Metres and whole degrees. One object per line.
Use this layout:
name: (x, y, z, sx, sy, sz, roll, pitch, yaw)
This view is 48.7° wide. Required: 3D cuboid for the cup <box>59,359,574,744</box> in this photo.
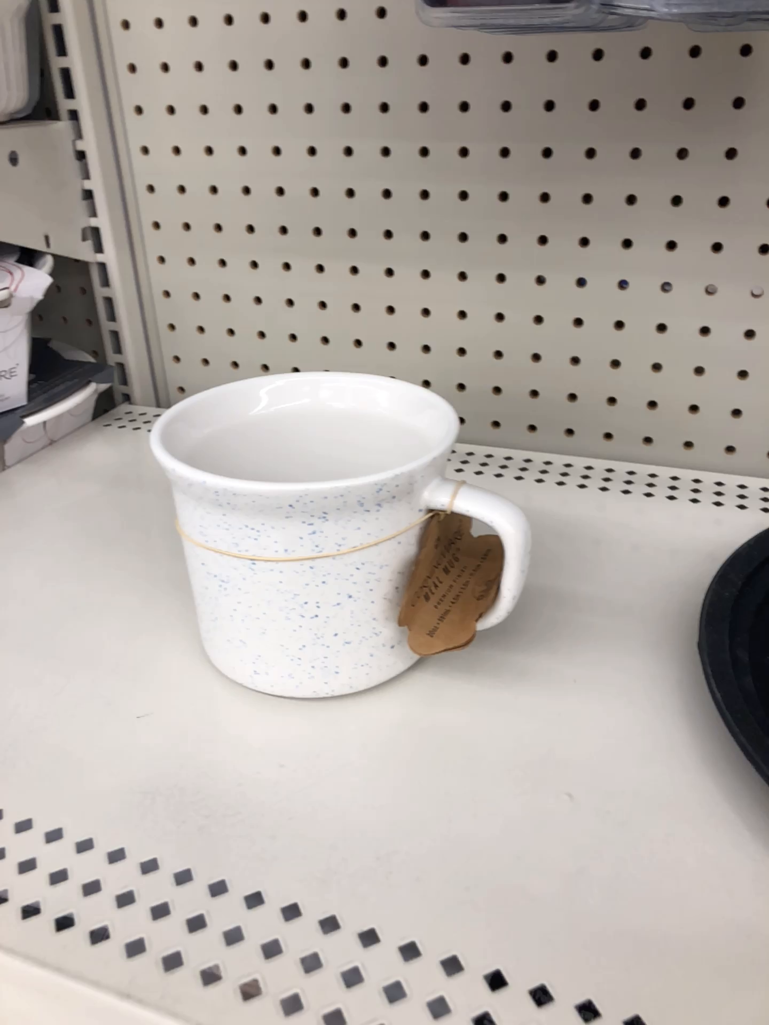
cup: (-0.017, 0.005, 0.326, 0.159, 0.090, 0.102, 6, 29, 16)
